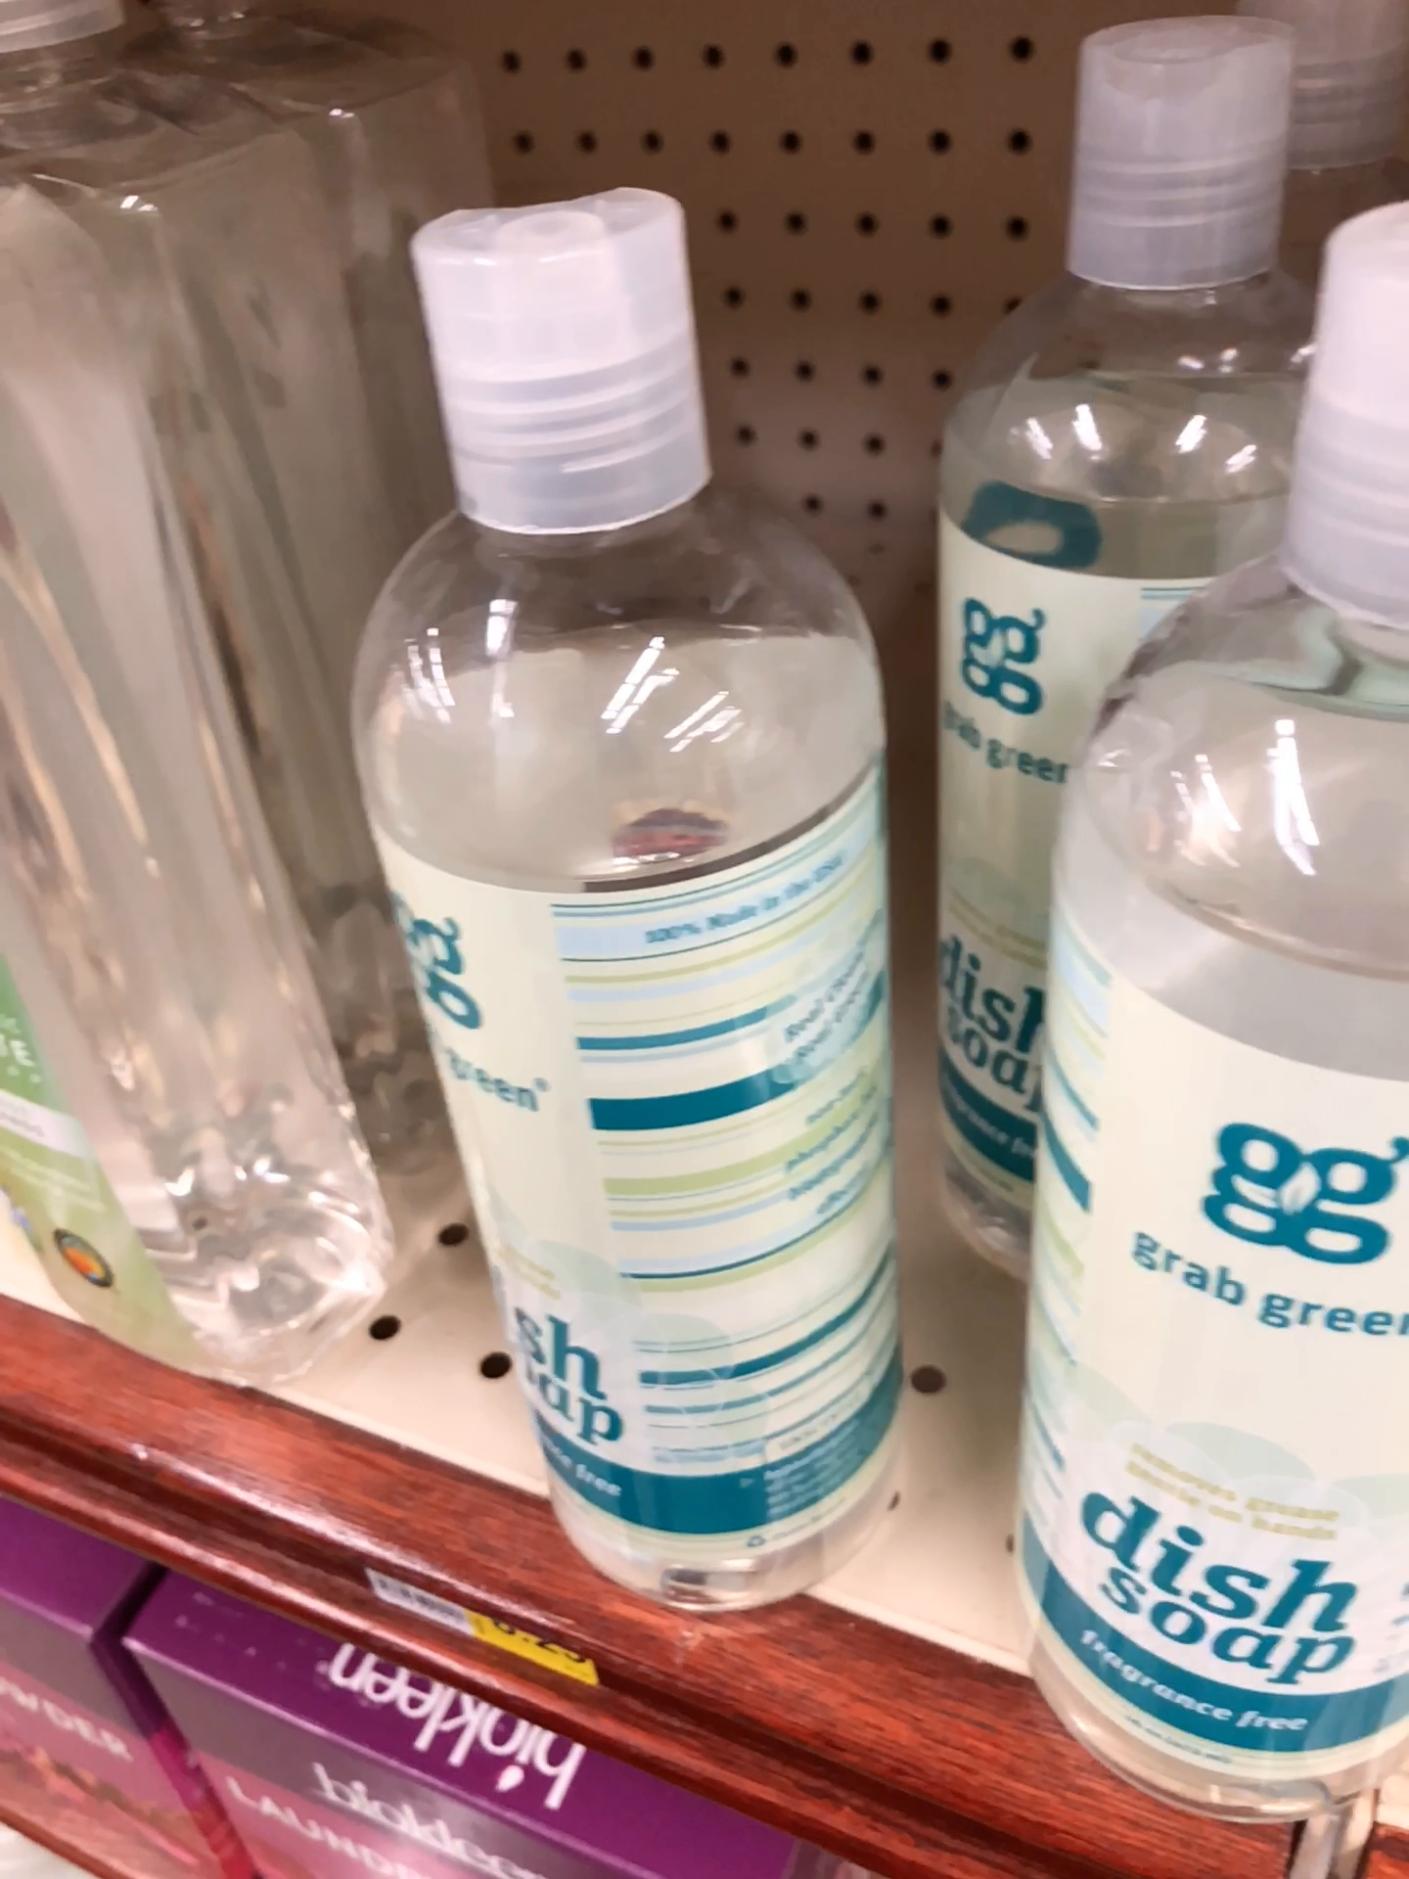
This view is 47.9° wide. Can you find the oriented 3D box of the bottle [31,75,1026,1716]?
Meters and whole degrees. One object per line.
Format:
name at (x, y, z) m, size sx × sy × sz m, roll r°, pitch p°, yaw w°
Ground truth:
bottle at (-0.008, 0.008, 0.206) m, size 0.060 × 0.199 × 0.070 m, roll -35°, pitch 46°, yaw -30°
